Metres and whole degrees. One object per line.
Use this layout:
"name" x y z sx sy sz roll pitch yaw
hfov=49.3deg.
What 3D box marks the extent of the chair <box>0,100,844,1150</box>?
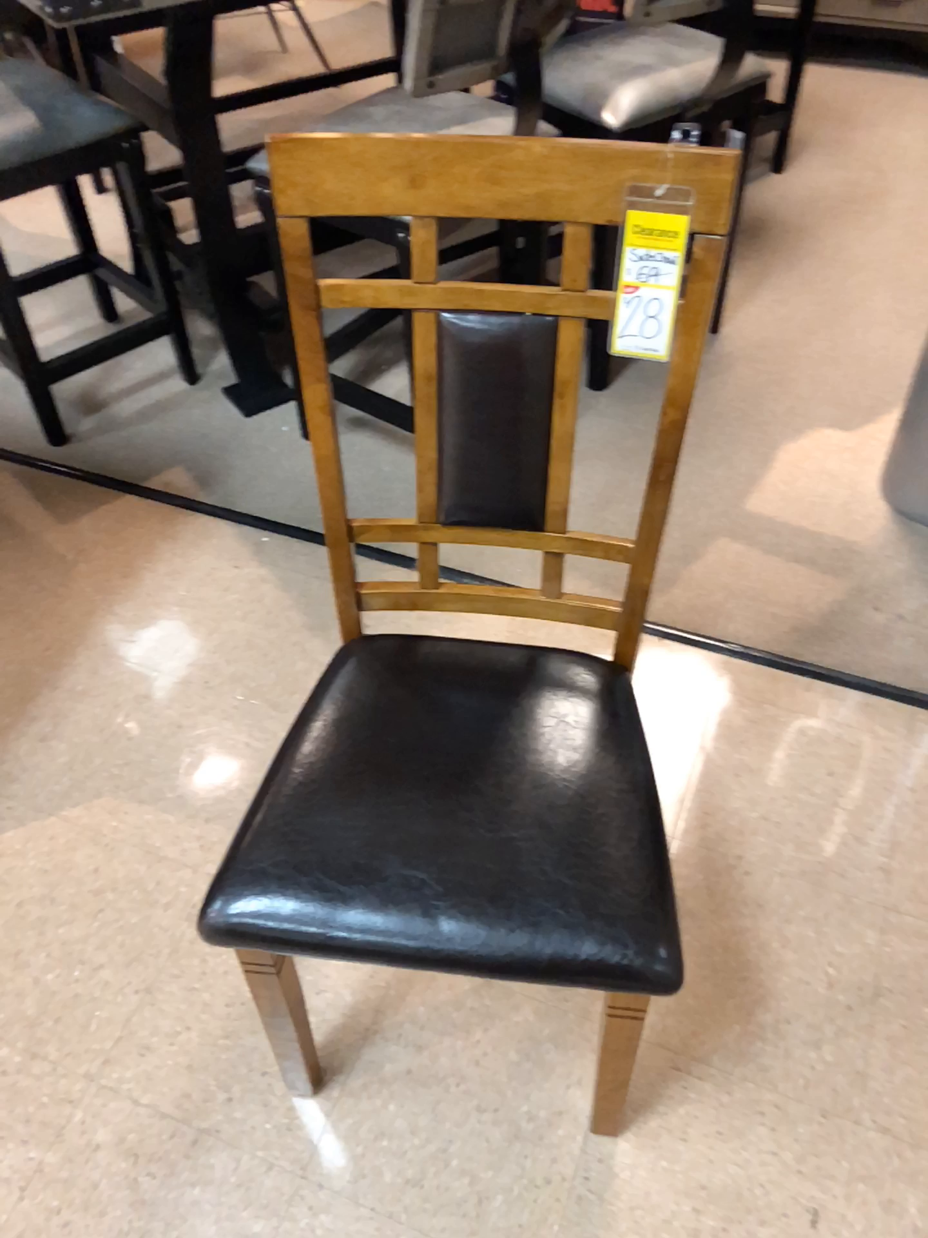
"chair" 0.001 0.093 1.040 0.450 0.993 0.503 5 47 6
